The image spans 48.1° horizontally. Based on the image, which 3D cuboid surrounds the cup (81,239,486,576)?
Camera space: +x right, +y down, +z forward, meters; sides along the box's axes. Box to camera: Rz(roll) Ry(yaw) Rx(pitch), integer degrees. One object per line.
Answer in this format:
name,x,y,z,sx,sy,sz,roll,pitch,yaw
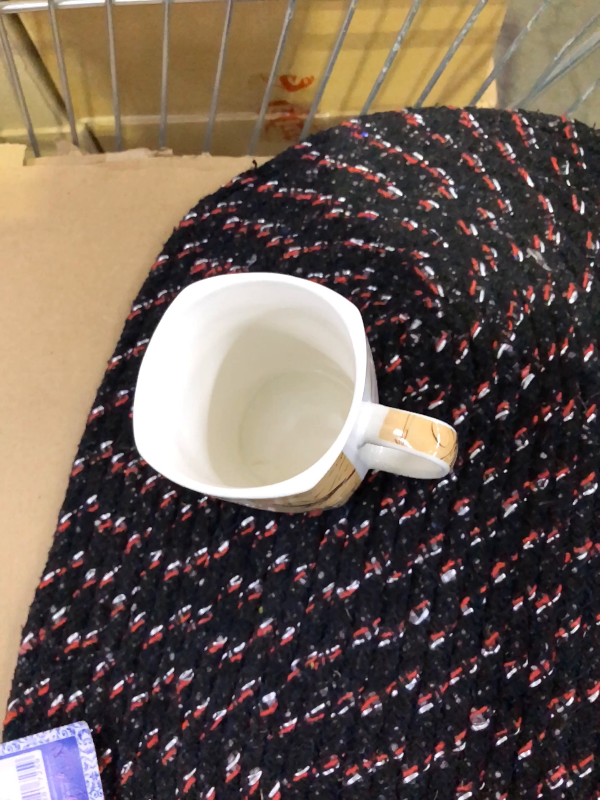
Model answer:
cup,0.002,0.004,0.260,0.120,0.080,0.090,11,74,19
